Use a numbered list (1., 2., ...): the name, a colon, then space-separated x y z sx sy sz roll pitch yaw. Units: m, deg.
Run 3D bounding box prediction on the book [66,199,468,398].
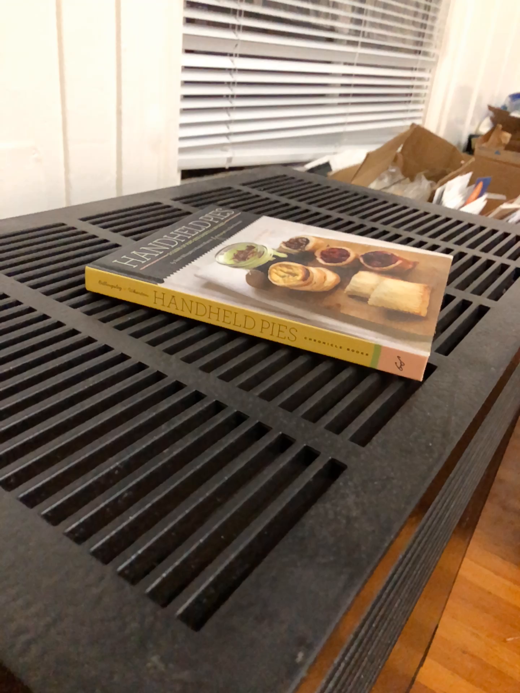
1. book: 0.023 -0.053 0.406 0.230 0.020 0.201 14 30 15
